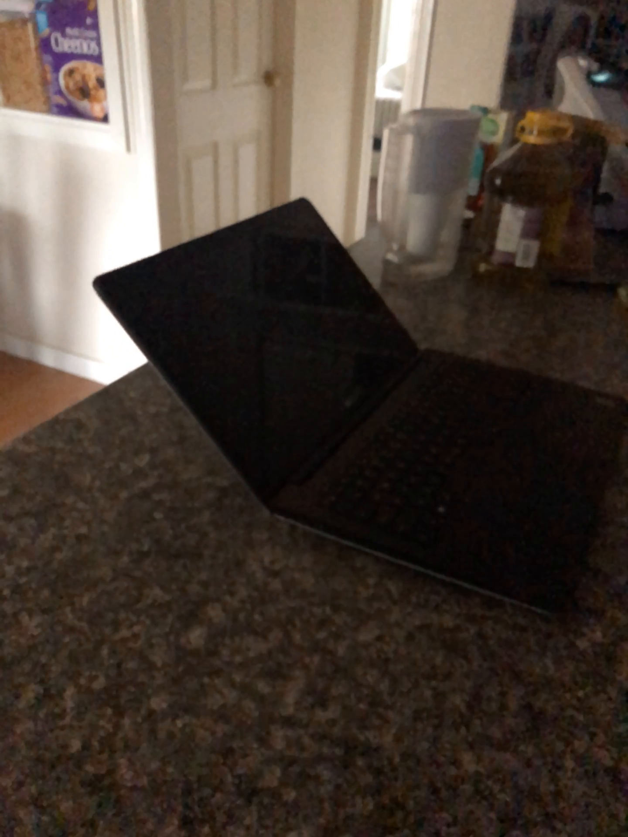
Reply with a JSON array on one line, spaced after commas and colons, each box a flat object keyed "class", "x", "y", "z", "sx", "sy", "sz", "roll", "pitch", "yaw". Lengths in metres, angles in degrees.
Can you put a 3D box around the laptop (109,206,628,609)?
[{"class": "laptop", "x": 0.089, "y": -0.063, "z": 0.684, "sx": 0.414, "sy": 0.158, "sz": 0.362, "roll": 17, "pitch": 33, "yaw": 23}]
